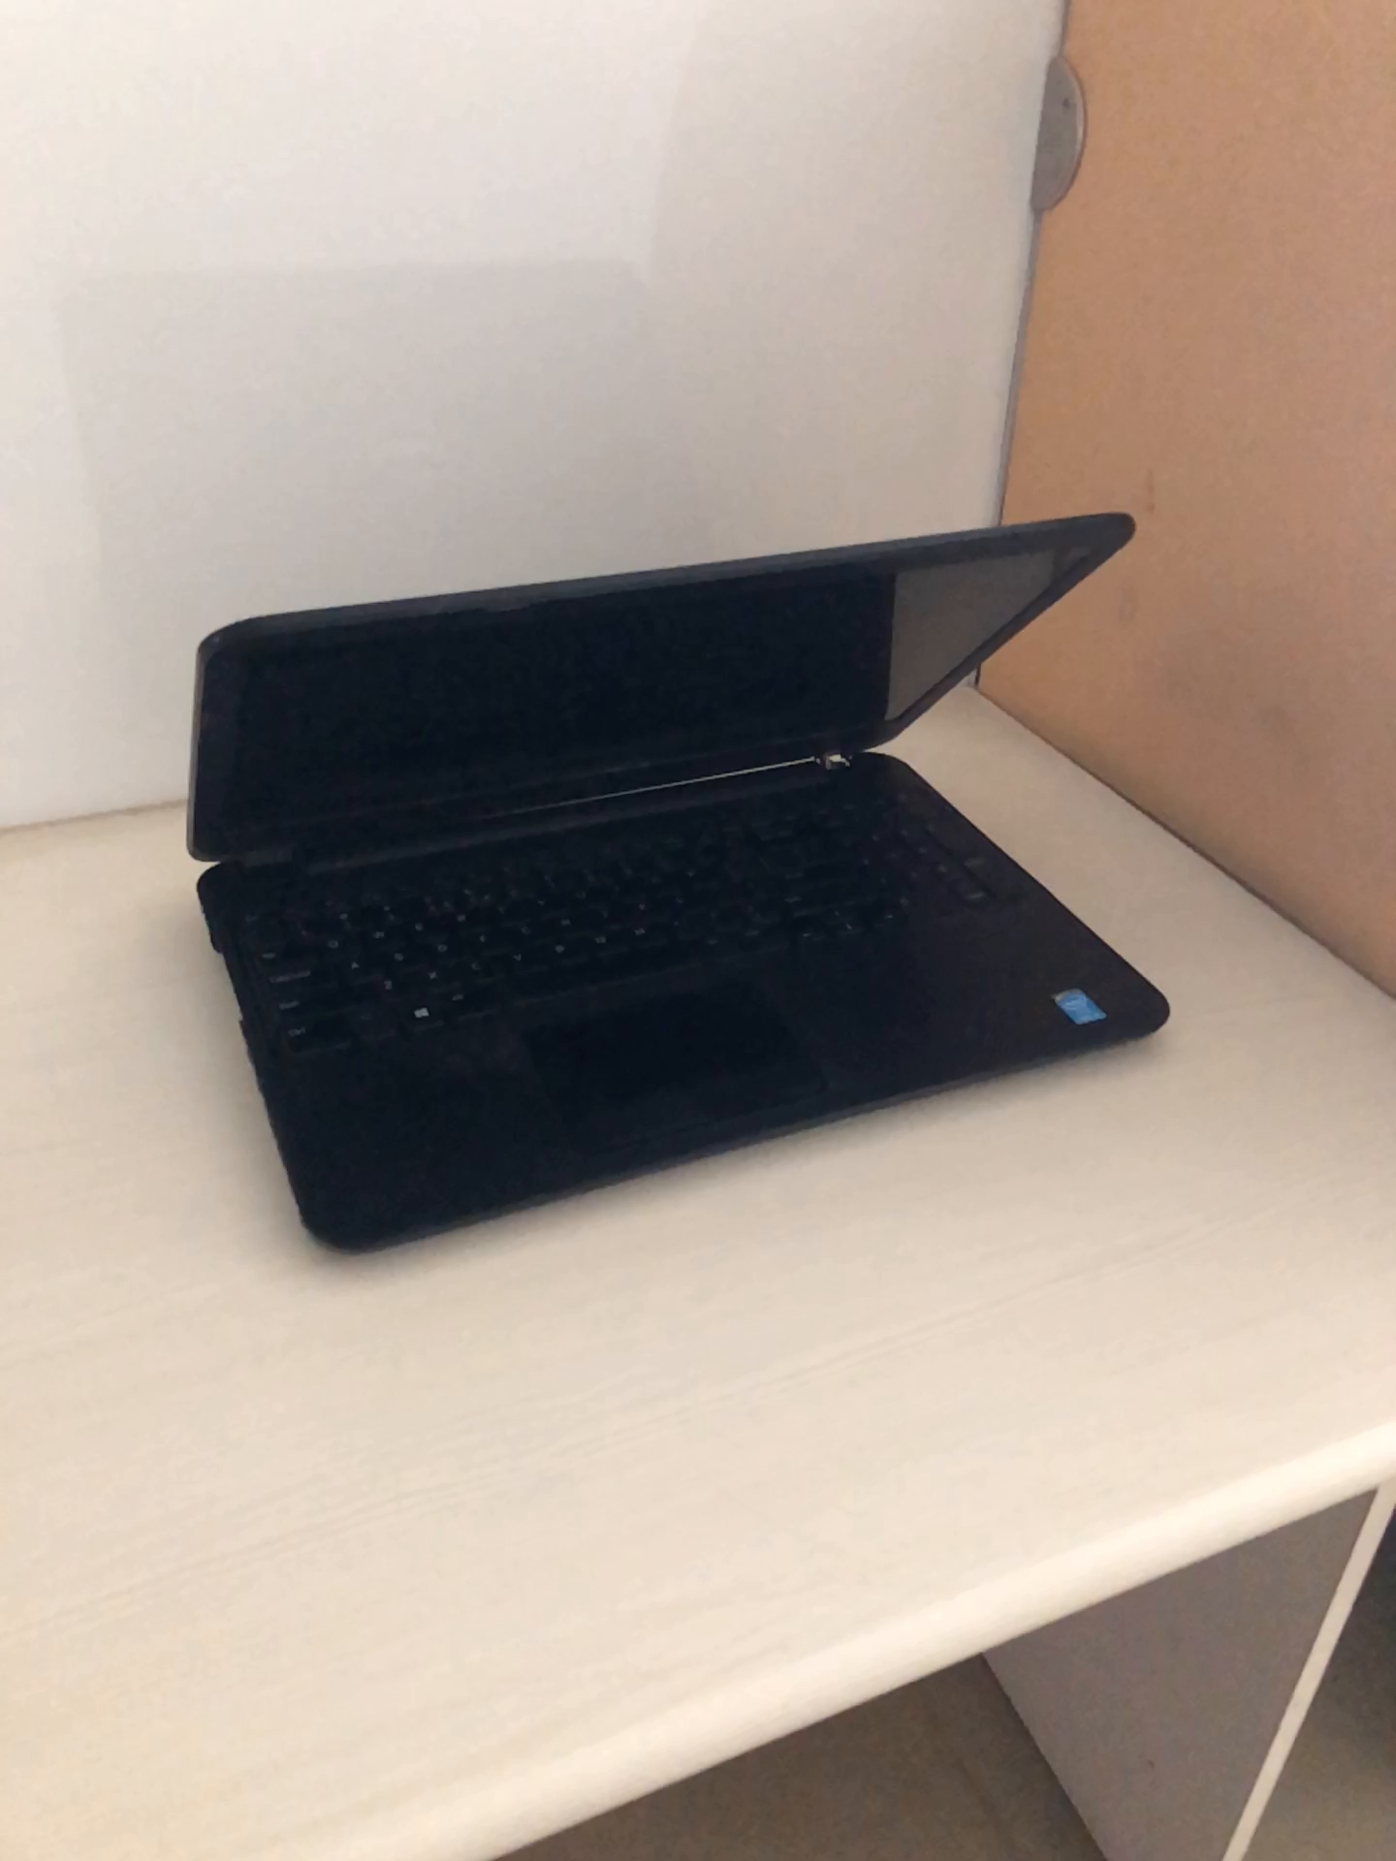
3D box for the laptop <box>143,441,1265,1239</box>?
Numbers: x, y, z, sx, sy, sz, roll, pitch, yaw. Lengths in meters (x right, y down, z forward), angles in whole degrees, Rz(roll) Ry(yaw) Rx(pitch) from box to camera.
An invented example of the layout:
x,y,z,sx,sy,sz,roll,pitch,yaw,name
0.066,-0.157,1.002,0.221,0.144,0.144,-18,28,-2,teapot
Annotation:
x,y,z,sx,sy,sz,roll,pitch,yaw,name
-0.009,-0.068,0.640,0.365,0.177,0.248,-11,37,-23,laptop
